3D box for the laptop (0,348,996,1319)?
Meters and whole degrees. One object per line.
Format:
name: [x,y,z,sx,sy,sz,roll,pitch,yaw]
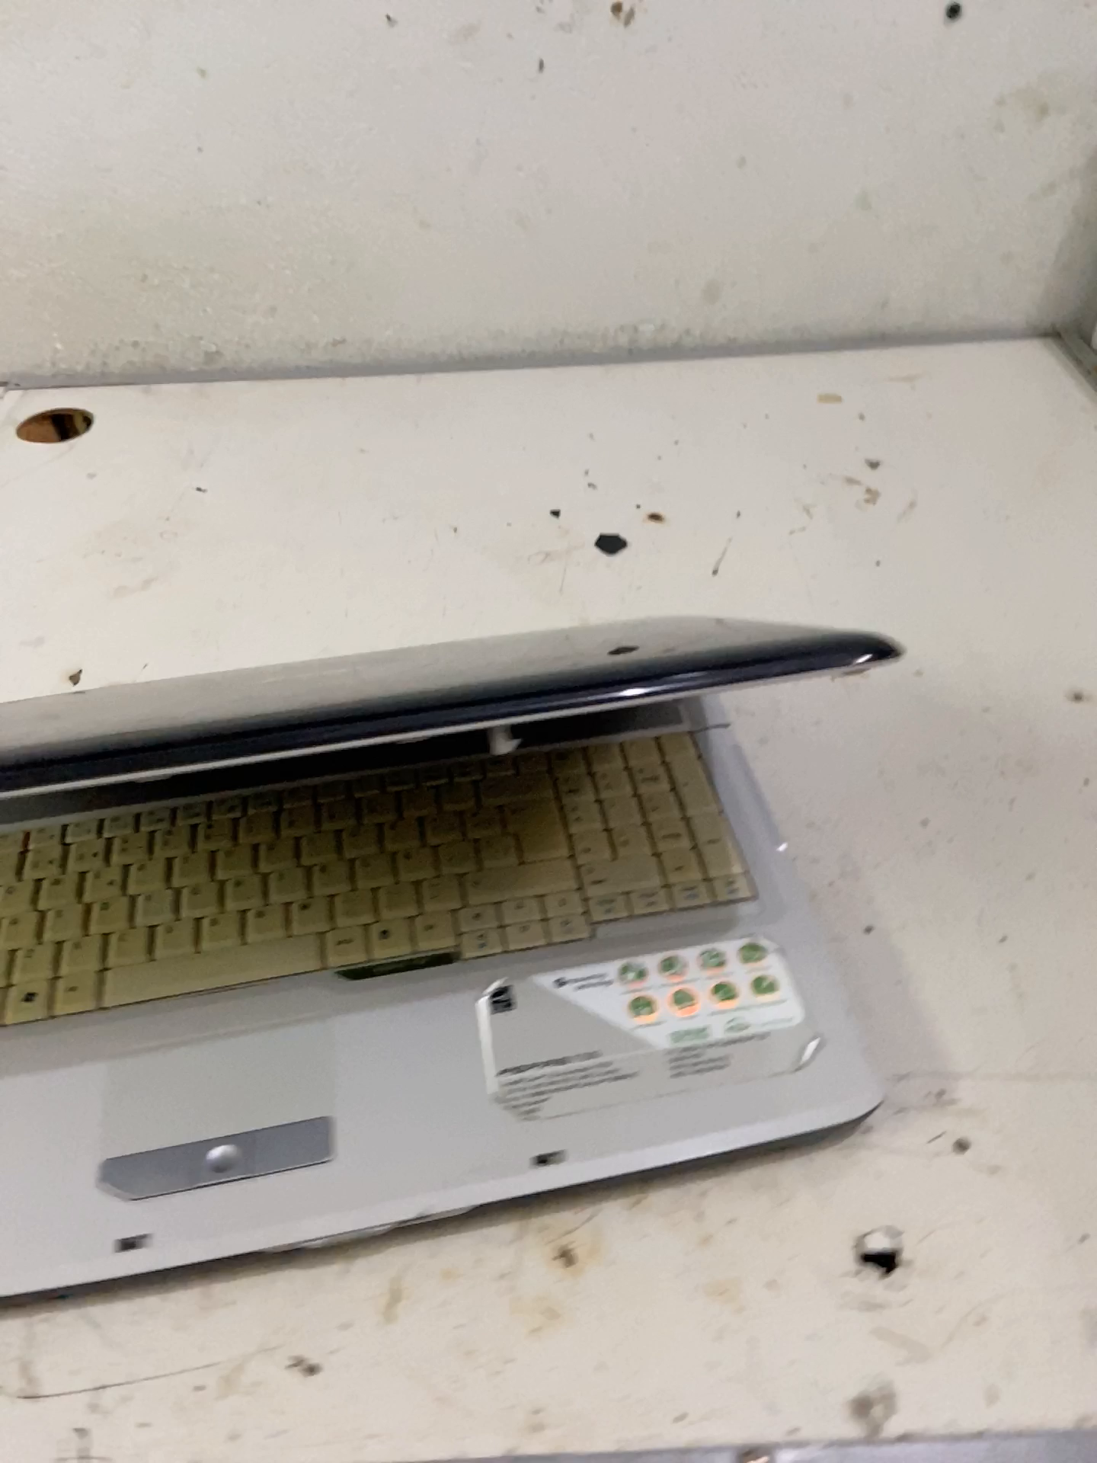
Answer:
laptop: [-0.088,0.011,0.439,0.380,0.164,0.279,-9,42,-6]
